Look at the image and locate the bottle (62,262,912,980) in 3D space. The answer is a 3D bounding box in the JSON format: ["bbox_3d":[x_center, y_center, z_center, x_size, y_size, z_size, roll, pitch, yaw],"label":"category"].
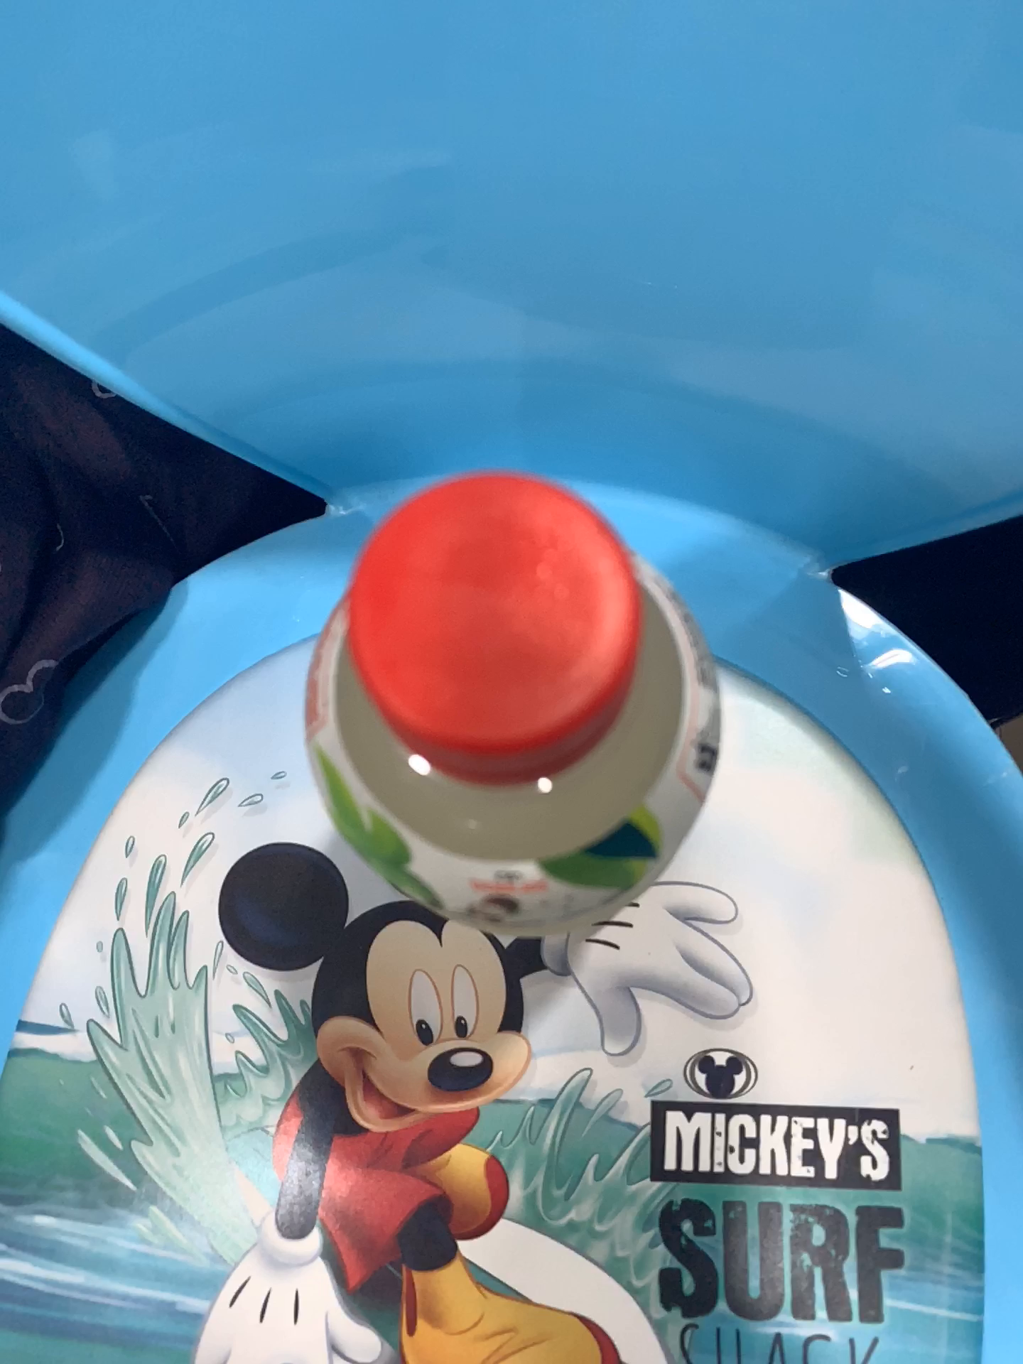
[{"bbox_3d":[0.004,0.011,0.166,0.070,0.150,0.060,4,73,5],"label":"bottle"}]
